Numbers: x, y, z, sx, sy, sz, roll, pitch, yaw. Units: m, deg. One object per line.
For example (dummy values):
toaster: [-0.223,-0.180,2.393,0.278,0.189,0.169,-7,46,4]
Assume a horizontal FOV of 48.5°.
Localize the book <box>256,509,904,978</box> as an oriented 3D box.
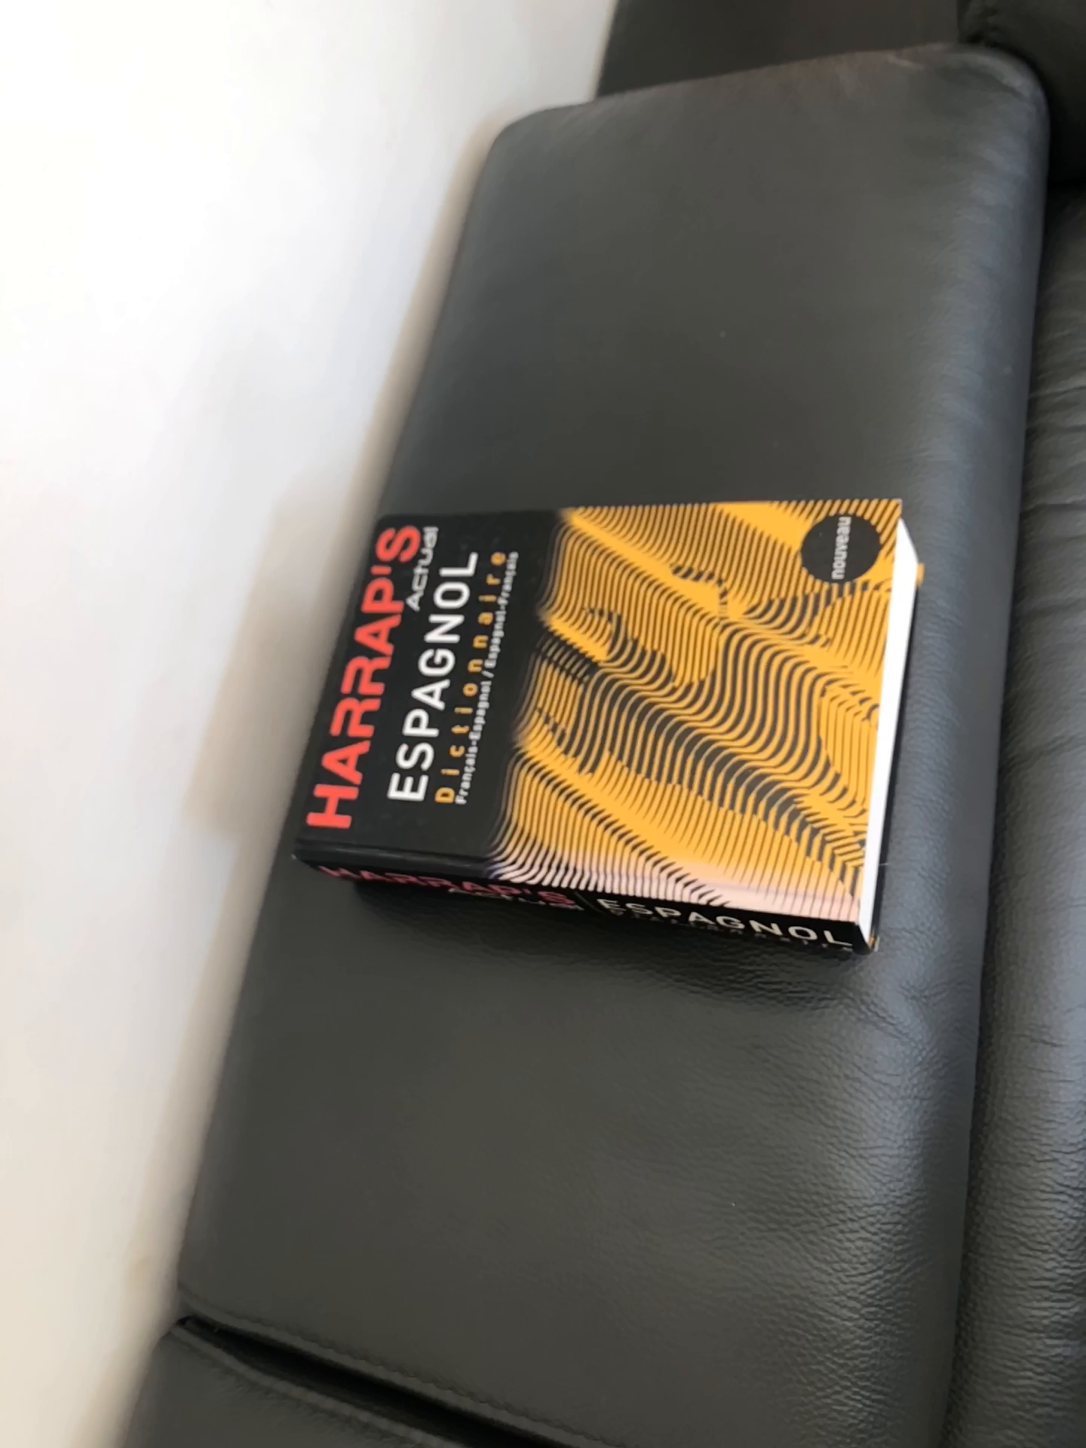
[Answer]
book: [0.016,-0.001,0.541,0.260,0.050,0.185,4,71,23]
